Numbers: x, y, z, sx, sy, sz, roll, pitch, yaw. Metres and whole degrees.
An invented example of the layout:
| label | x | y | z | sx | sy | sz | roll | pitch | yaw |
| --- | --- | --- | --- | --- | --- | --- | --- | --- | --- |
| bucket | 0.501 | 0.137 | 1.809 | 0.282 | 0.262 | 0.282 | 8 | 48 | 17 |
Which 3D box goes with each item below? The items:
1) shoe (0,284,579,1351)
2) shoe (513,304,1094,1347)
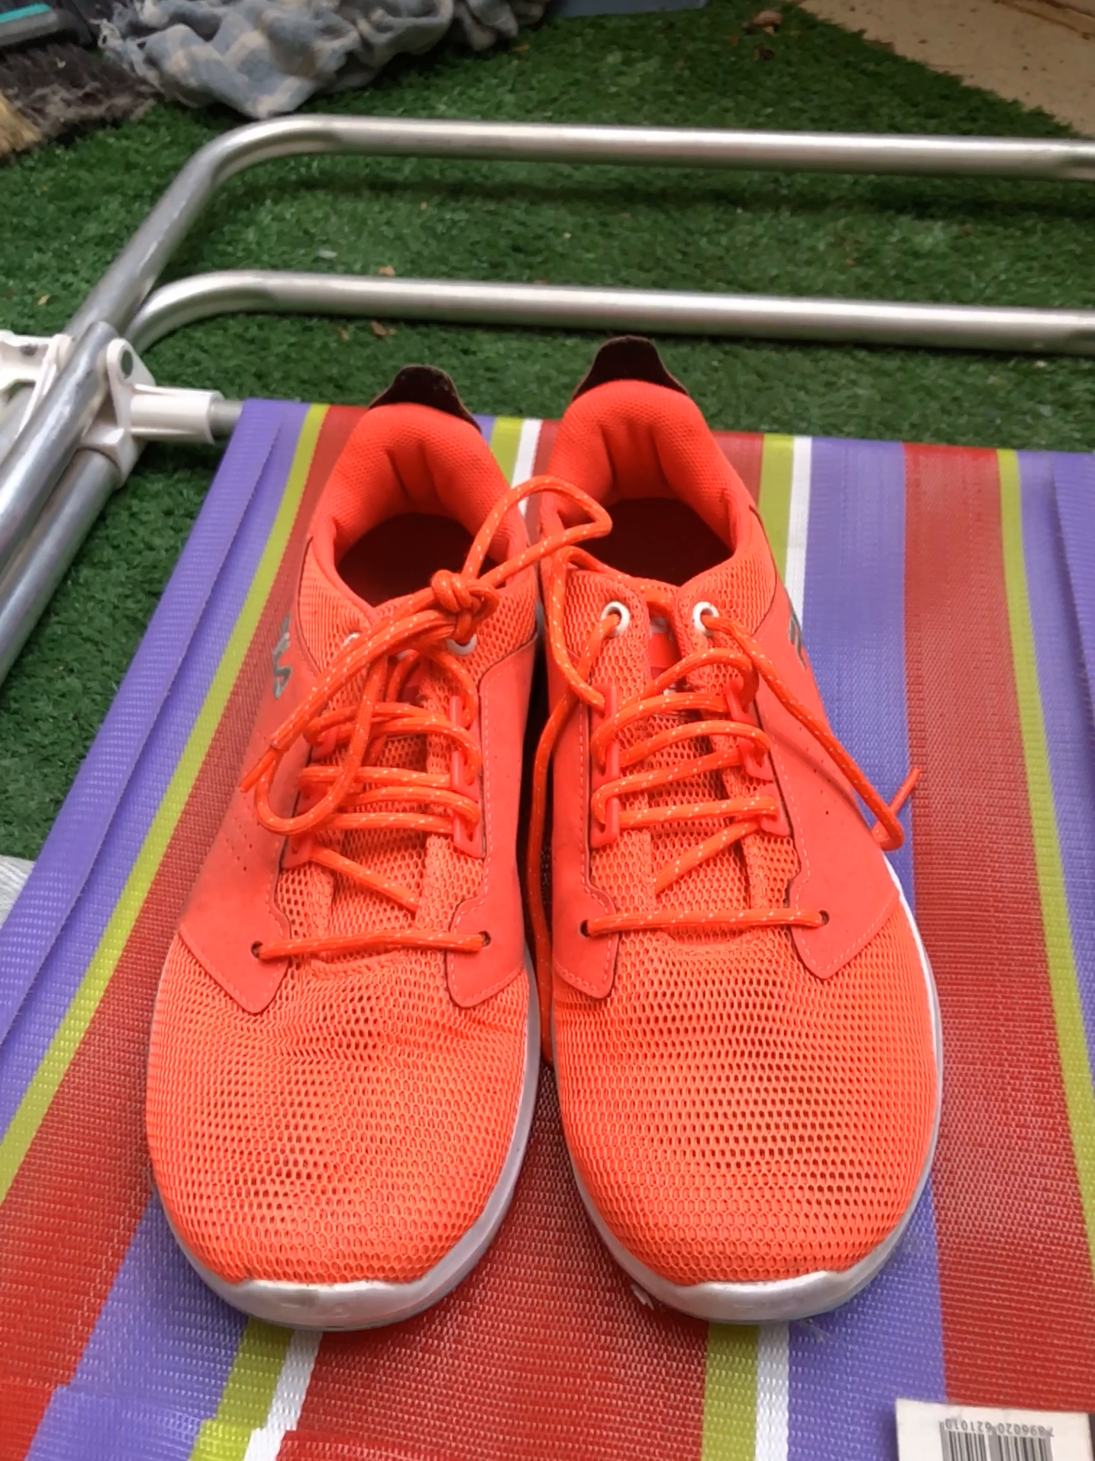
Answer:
| label | x | y | z | sx | sy | sz | roll | pitch | yaw |
| --- | --- | --- | --- | --- | --- | --- | --- | --- | --- |
| shoe | -0.046 | 0.006 | 0.286 | 0.100 | 0.099 | 0.231 | 2 | 51 | -1 |
| shoe | 0.048 | 0.006 | 0.310 | 0.100 | 0.089 | 0.251 | -5 | 51 | 2 |
